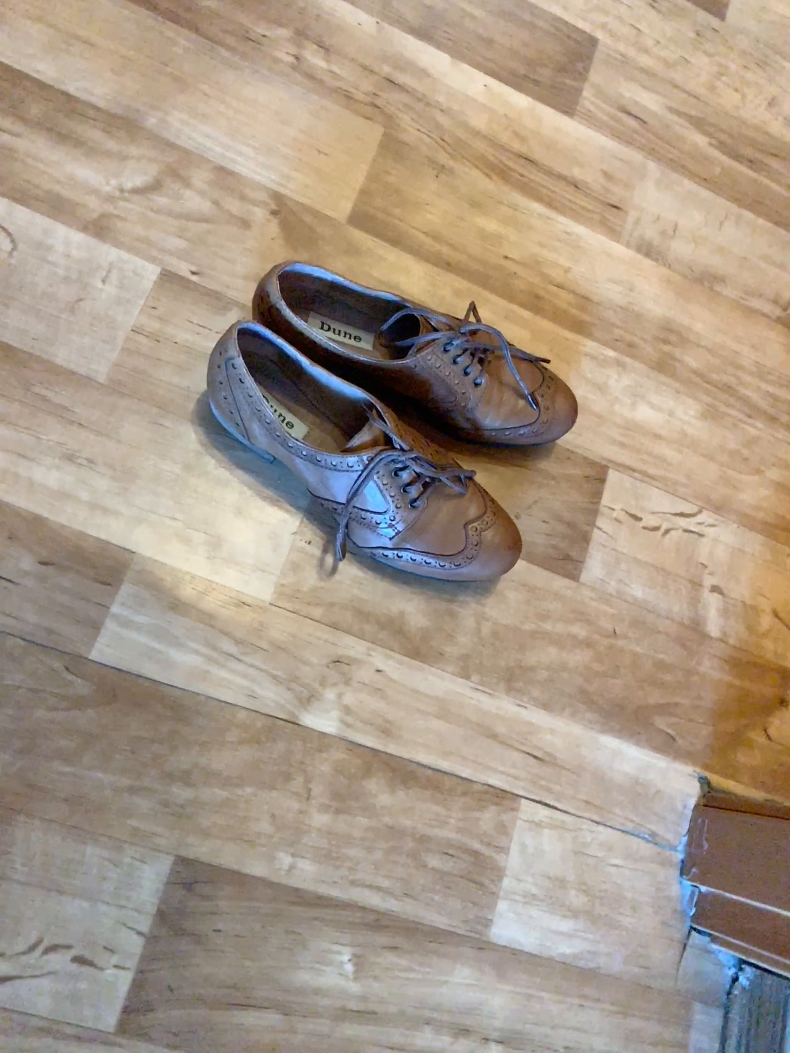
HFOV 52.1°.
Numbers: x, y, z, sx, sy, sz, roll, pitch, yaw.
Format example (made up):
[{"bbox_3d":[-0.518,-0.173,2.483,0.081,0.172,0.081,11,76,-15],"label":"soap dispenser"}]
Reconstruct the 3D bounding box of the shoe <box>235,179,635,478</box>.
[{"bbox_3d":[0.021,-0.120,0.539,0.230,0.120,0.080,17,73,-11],"label":"shoe"}]

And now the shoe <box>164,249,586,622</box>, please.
[{"bbox_3d":[-0.020,-0.047,0.526,0.240,0.120,0.090,33,70,-5],"label":"shoe"}]
